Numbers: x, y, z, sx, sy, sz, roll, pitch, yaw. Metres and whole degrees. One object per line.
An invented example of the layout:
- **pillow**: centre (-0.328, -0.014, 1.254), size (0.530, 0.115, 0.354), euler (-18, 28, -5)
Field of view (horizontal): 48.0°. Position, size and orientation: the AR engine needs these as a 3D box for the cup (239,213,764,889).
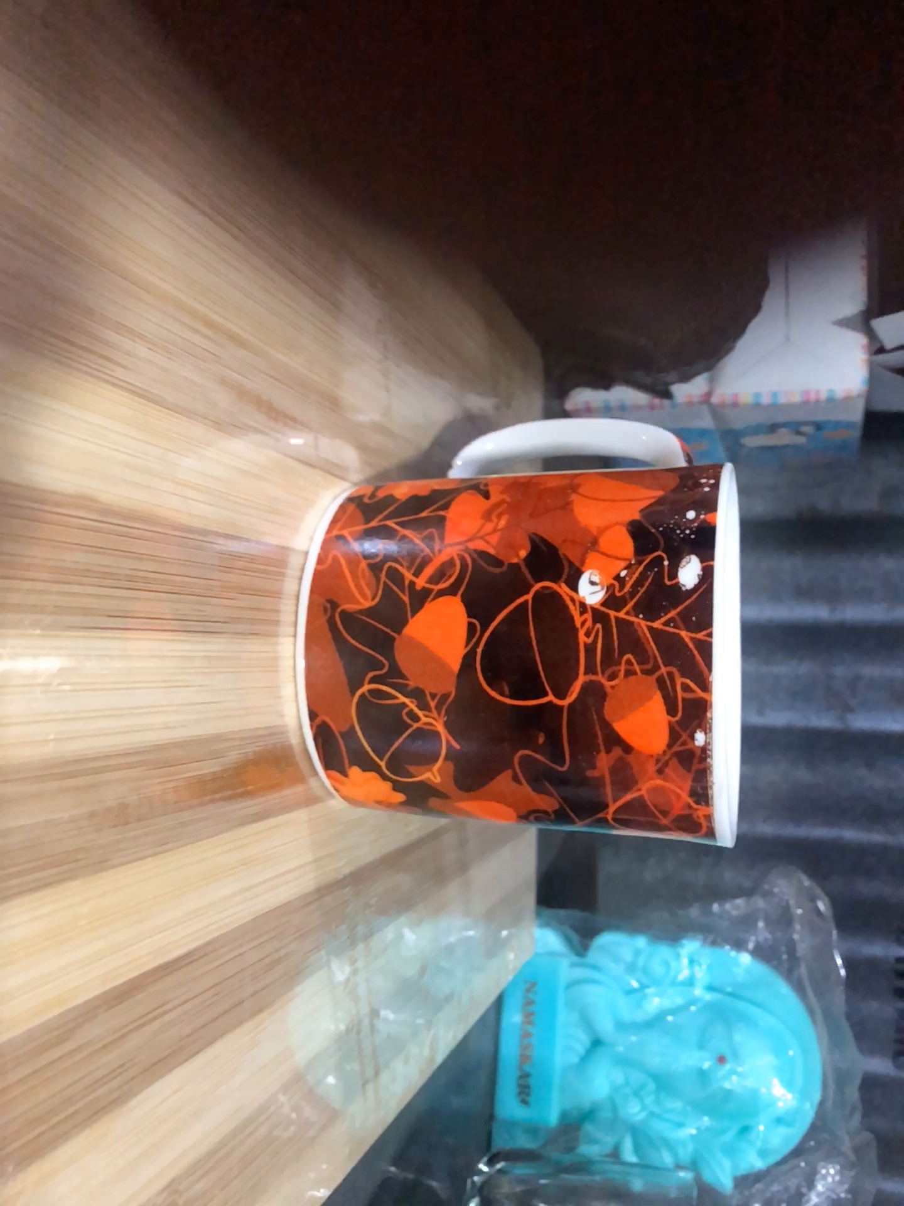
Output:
- **cup**: centre (0.023, -0.012, 0.215), size (0.080, 0.080, 0.110), euler (71, 26, -49)
